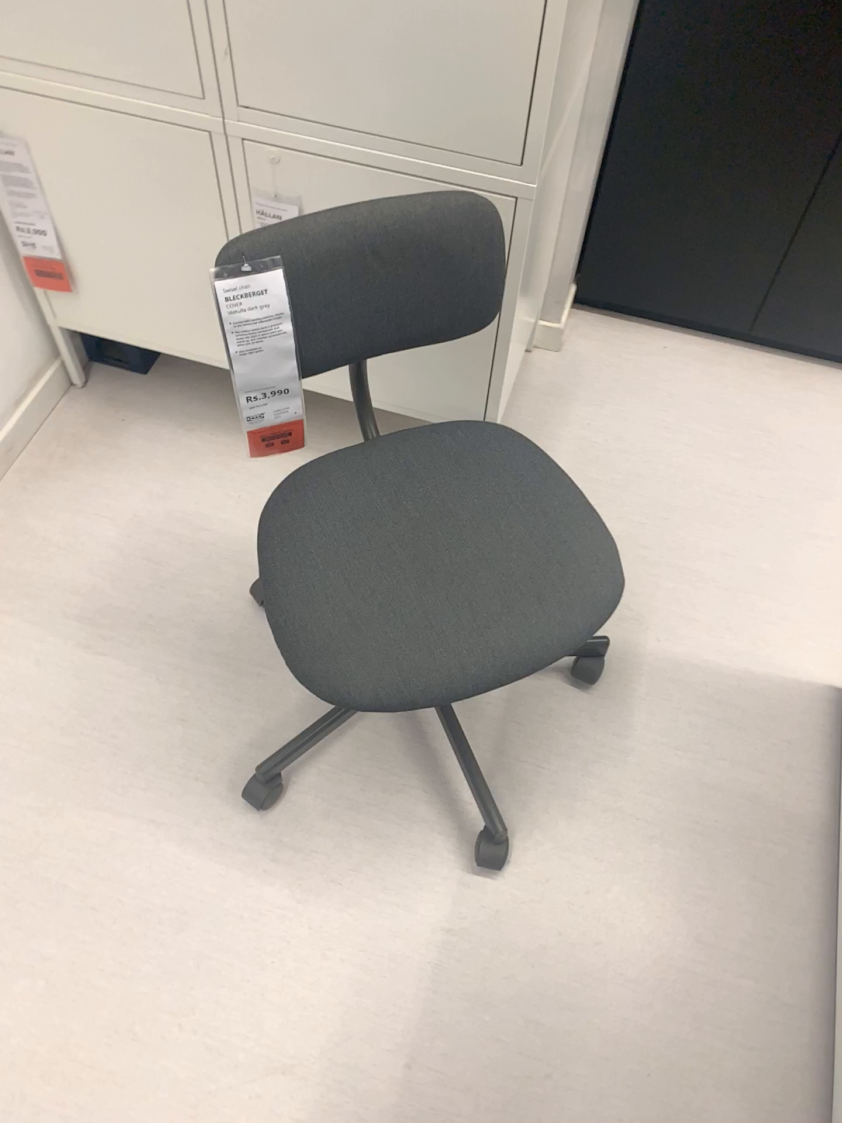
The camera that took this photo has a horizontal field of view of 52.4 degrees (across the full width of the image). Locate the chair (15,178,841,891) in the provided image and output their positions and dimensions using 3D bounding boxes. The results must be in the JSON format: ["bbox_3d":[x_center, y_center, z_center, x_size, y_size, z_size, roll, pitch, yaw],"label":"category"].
[{"bbox_3d":[0.003,-0.007,1.189,0.720,0.678,0.712,-1,56,-3],"label":"chair"}]
